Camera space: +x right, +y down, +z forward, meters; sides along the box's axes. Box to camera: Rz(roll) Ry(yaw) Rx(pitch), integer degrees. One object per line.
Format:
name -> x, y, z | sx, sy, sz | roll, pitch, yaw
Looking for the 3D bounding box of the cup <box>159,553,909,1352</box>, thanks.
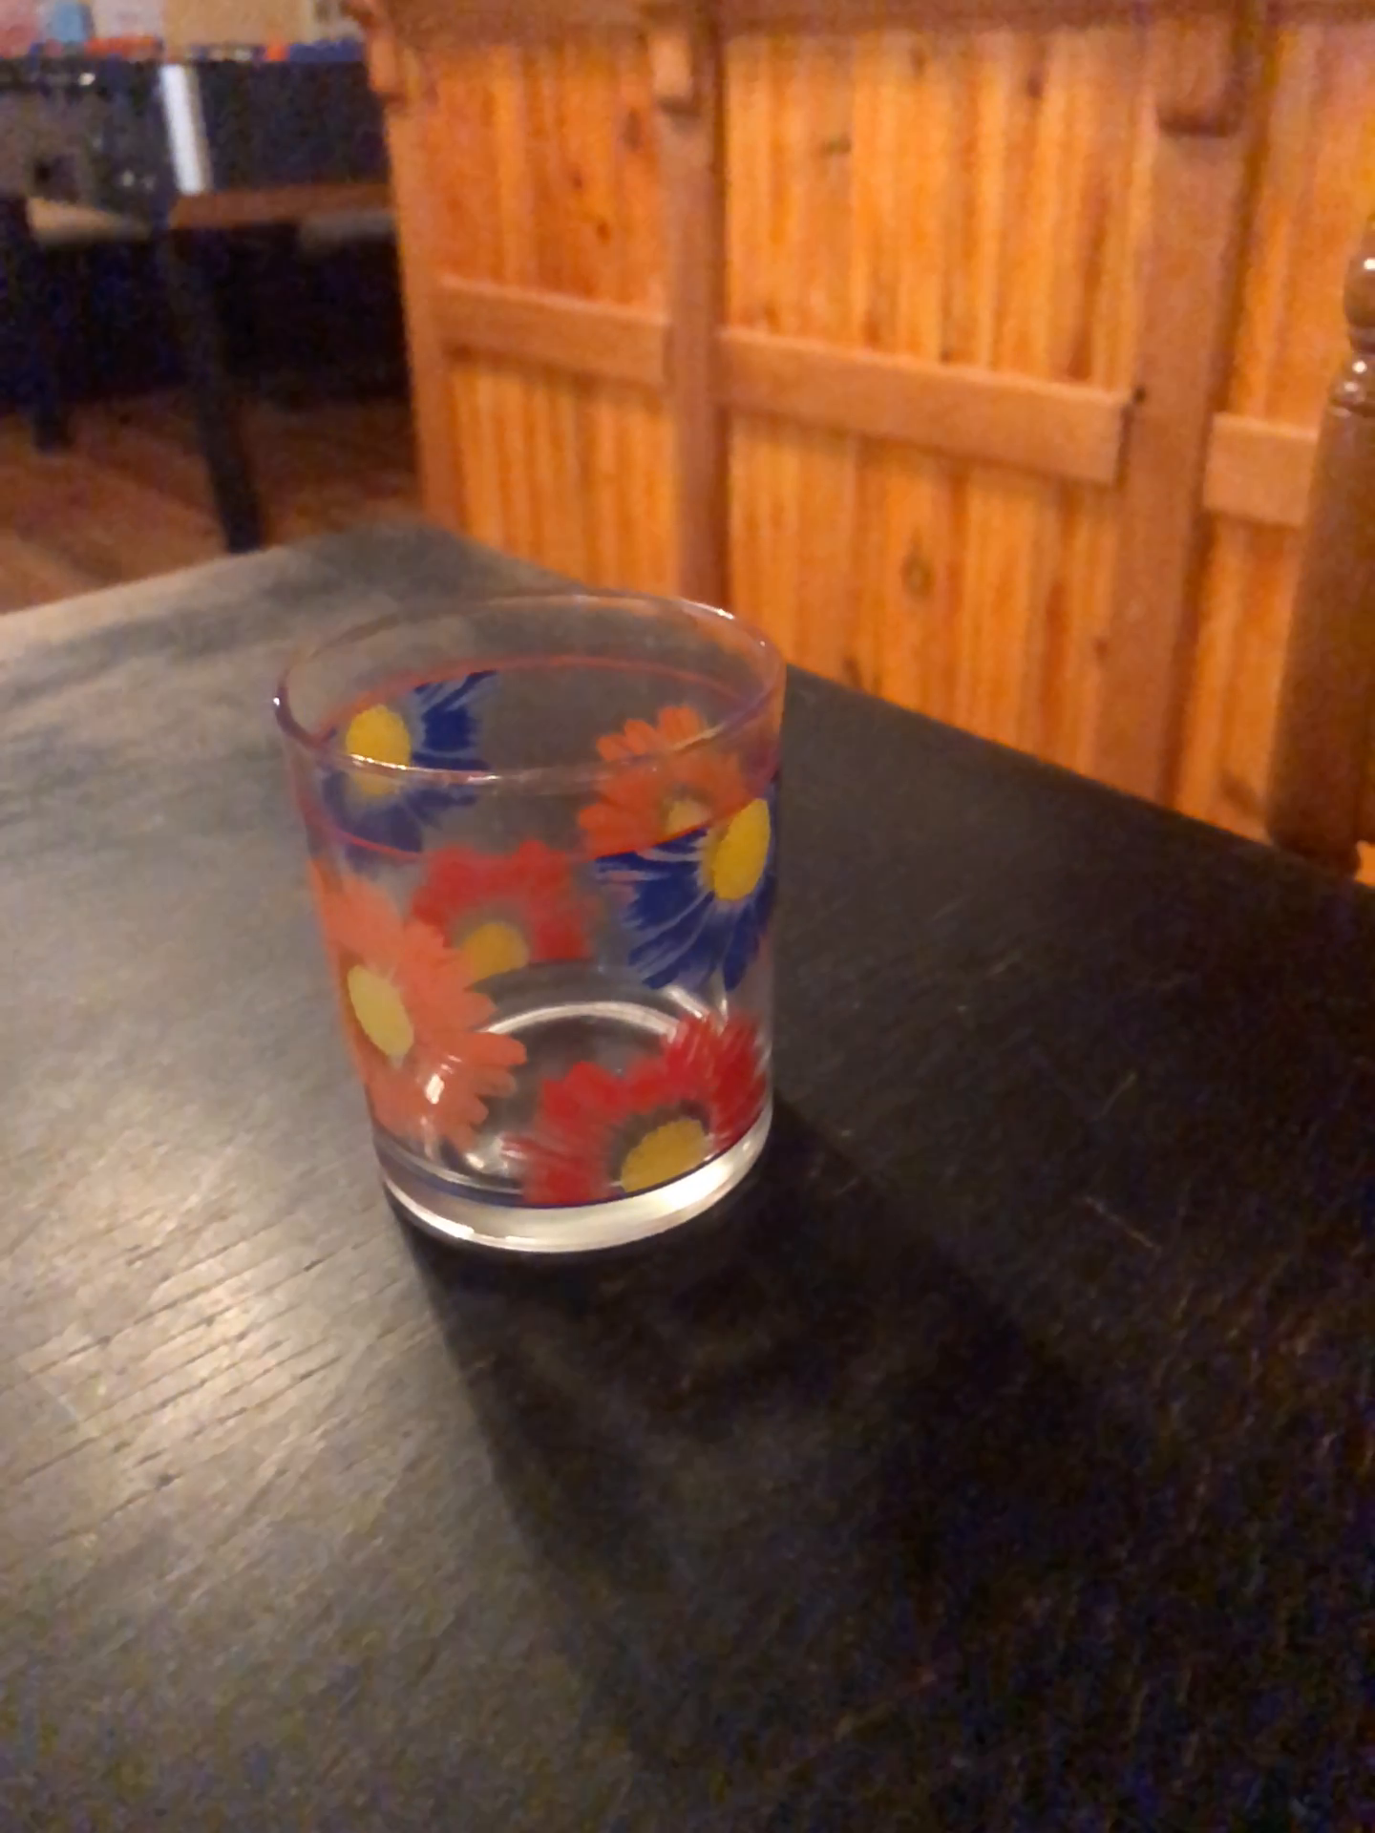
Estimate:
cup -> -0.022, -0.002, 0.239 | 0.076, 0.079, 0.078 | -1, 30, 1
